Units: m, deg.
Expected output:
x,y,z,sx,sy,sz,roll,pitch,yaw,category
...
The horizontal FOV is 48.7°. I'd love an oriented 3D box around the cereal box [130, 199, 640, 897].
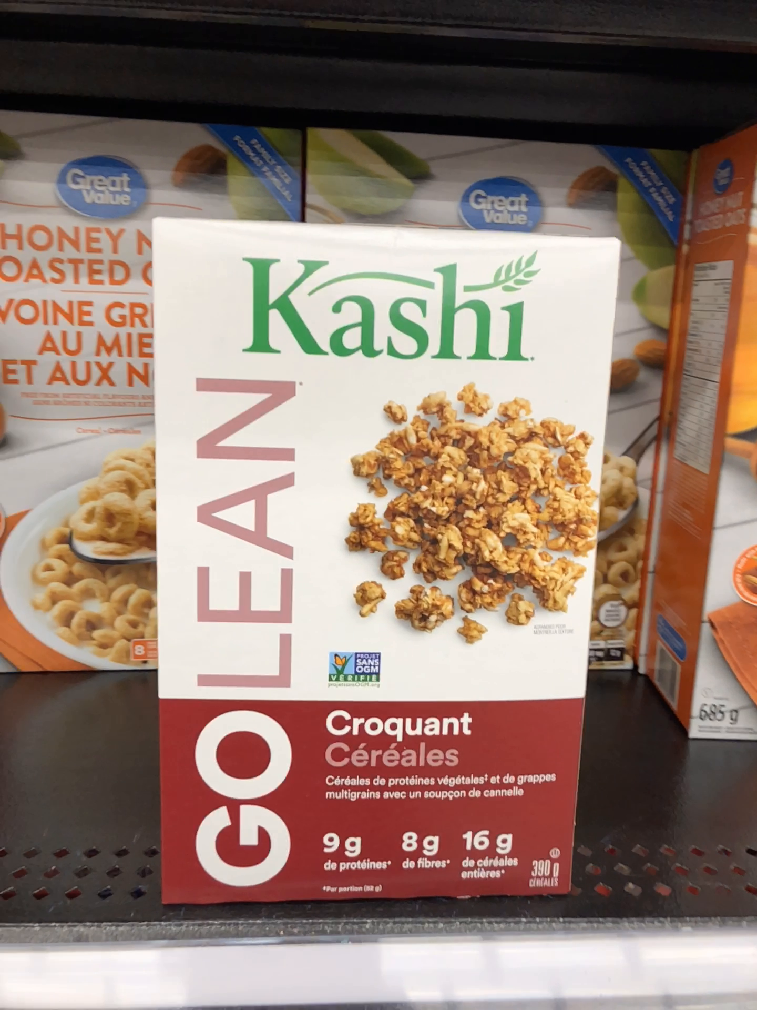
x,y,z,sx,sy,sz,roll,pitch,yaw,category
-0.002,0.022,0.331,0.170,0.259,0.050,1,13,-5,cereal box
